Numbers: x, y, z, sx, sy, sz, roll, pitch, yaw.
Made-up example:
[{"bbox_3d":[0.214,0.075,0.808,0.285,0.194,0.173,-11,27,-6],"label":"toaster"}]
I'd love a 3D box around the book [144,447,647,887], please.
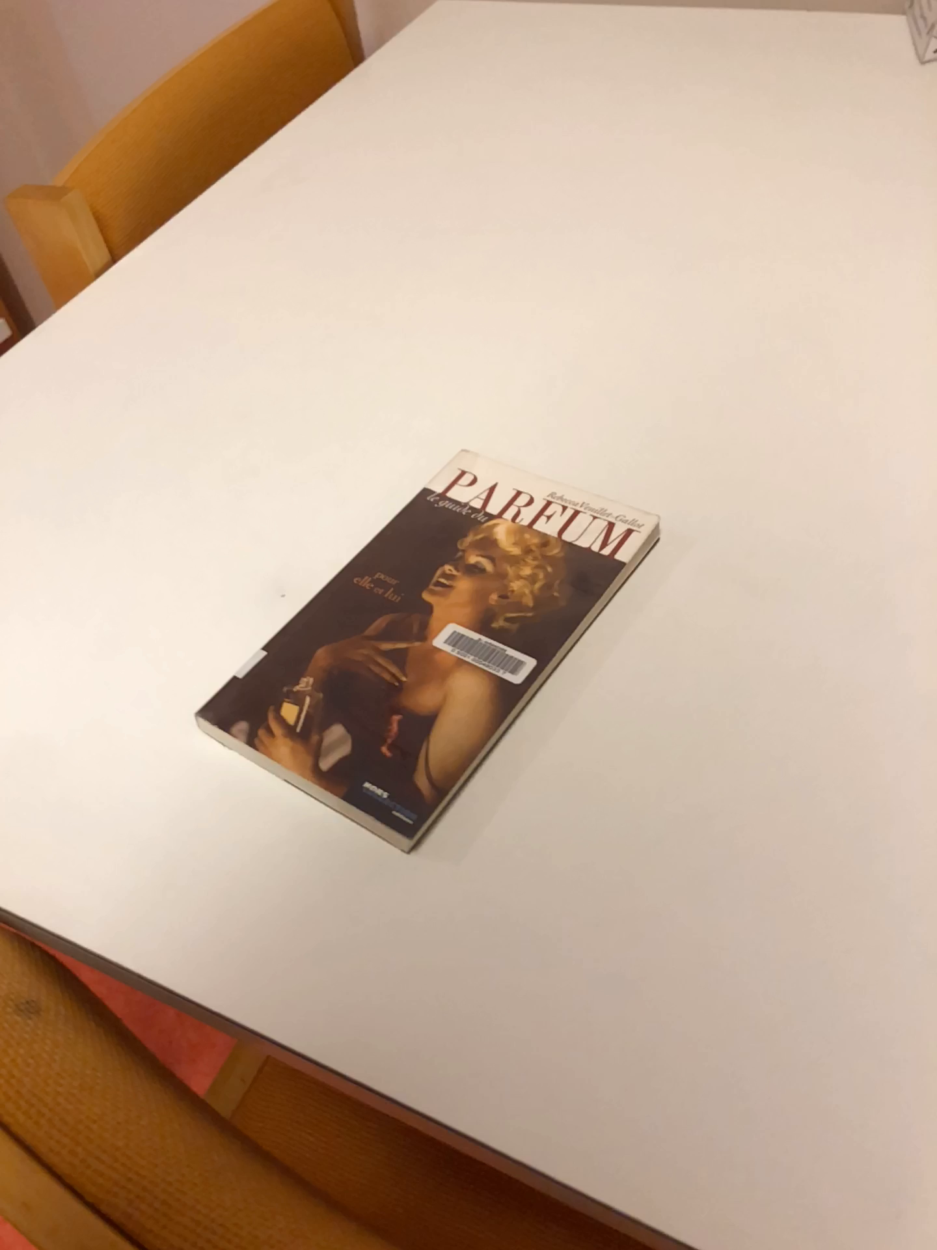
[{"bbox_3d":[-0.026,0.003,0.479,0.133,0.020,0.211,23,55,27],"label":"book"}]
